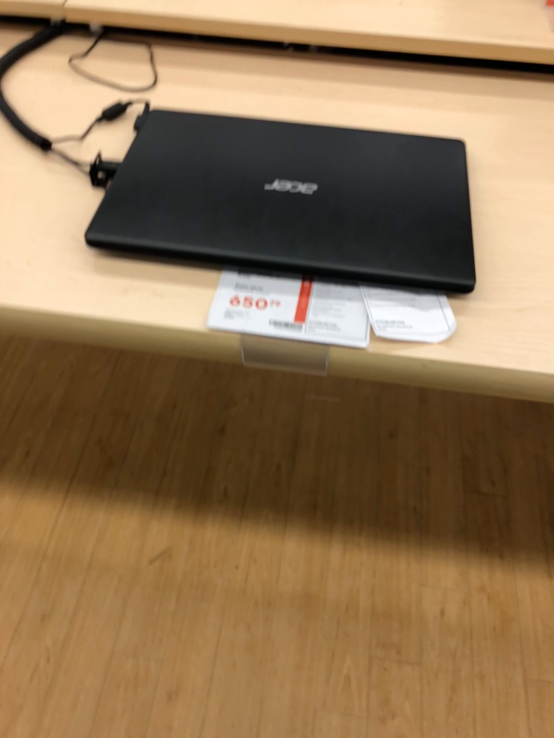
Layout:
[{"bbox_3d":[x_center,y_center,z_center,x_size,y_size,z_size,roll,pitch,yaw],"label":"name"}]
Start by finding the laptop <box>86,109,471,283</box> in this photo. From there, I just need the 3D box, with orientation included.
[{"bbox_3d":[0.015,-0.182,0.614,0.346,0.003,0.213,7,53,2],"label":"laptop"}]
